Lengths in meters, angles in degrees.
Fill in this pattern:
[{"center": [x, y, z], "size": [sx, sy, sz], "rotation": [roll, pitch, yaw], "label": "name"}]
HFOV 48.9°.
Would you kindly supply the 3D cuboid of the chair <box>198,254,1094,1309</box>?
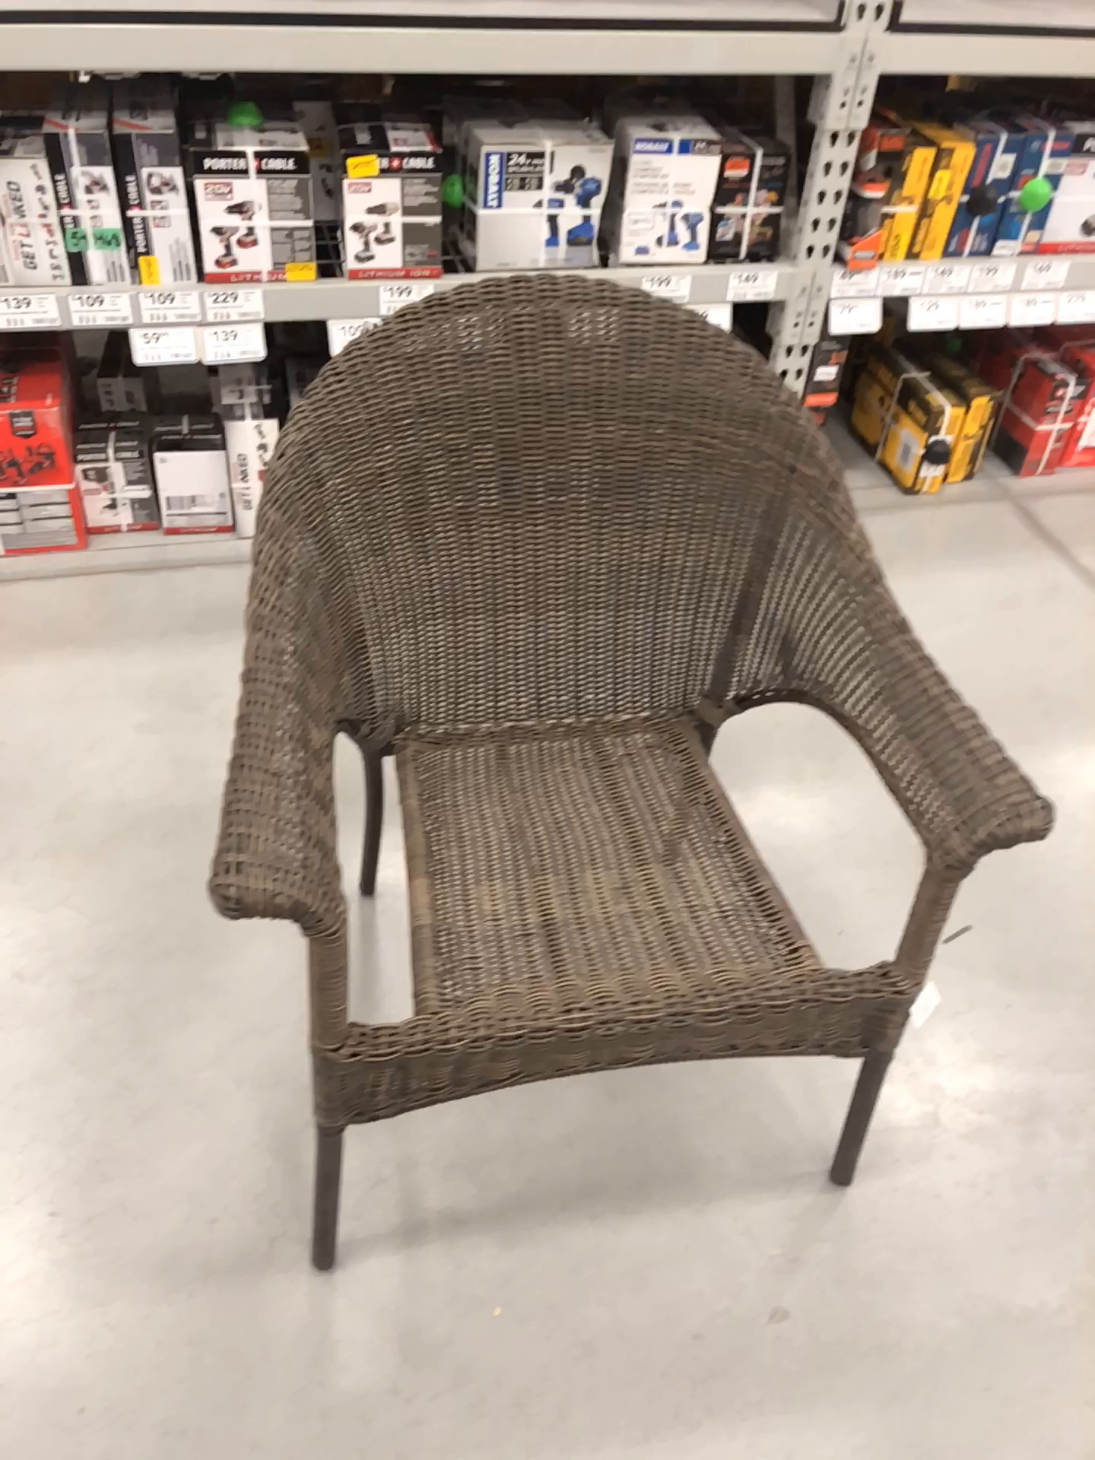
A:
[{"center": [0.036, 0.018, 1.331], "size": [0.720, 0.797, 0.763], "rotation": [-5, 42, -11], "label": "chair"}]
